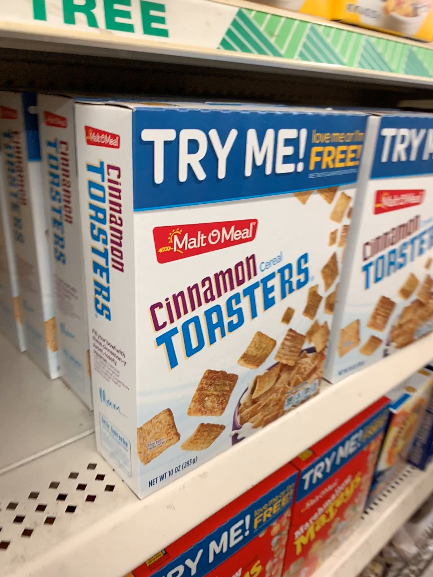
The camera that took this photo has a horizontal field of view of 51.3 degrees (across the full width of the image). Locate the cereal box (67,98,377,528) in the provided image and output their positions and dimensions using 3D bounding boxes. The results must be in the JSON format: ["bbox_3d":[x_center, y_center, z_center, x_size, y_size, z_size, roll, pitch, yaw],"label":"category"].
[{"bbox_3d":[0.008,0.005,0.271,0.170,0.209,0.050,-16,31,-40],"label":"cereal box"}]
